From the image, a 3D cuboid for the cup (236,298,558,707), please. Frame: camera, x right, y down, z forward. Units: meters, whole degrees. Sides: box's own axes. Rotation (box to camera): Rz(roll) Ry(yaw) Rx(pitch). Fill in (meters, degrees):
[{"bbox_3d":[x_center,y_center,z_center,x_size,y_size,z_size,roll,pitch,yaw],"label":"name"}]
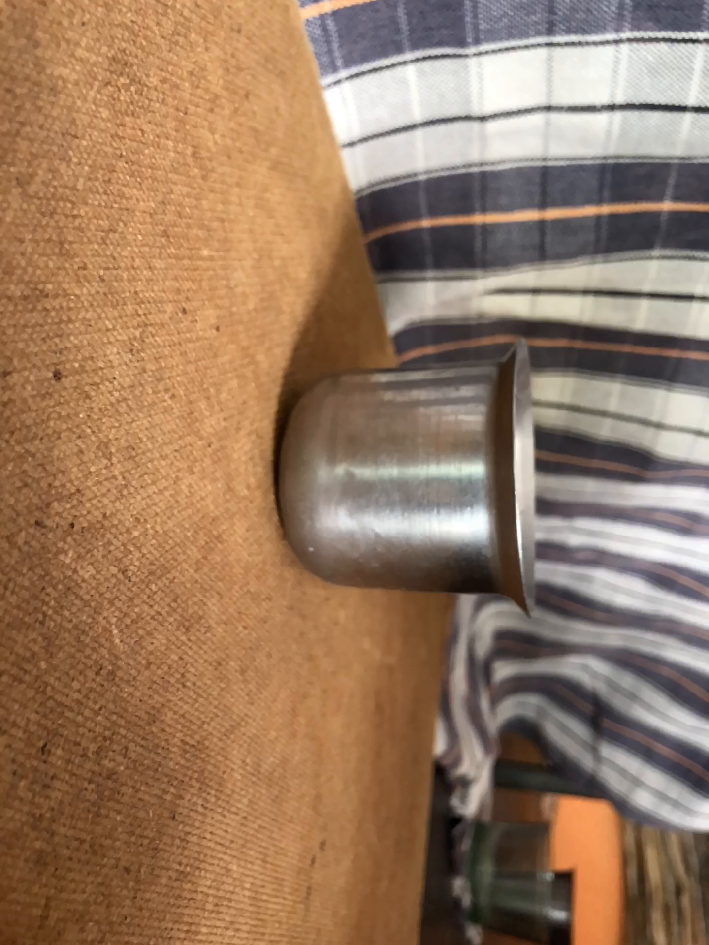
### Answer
[{"bbox_3d":[0.018,0.004,0.199,0.070,0.060,0.070,-1,90,-75],"label":"cup"}]
